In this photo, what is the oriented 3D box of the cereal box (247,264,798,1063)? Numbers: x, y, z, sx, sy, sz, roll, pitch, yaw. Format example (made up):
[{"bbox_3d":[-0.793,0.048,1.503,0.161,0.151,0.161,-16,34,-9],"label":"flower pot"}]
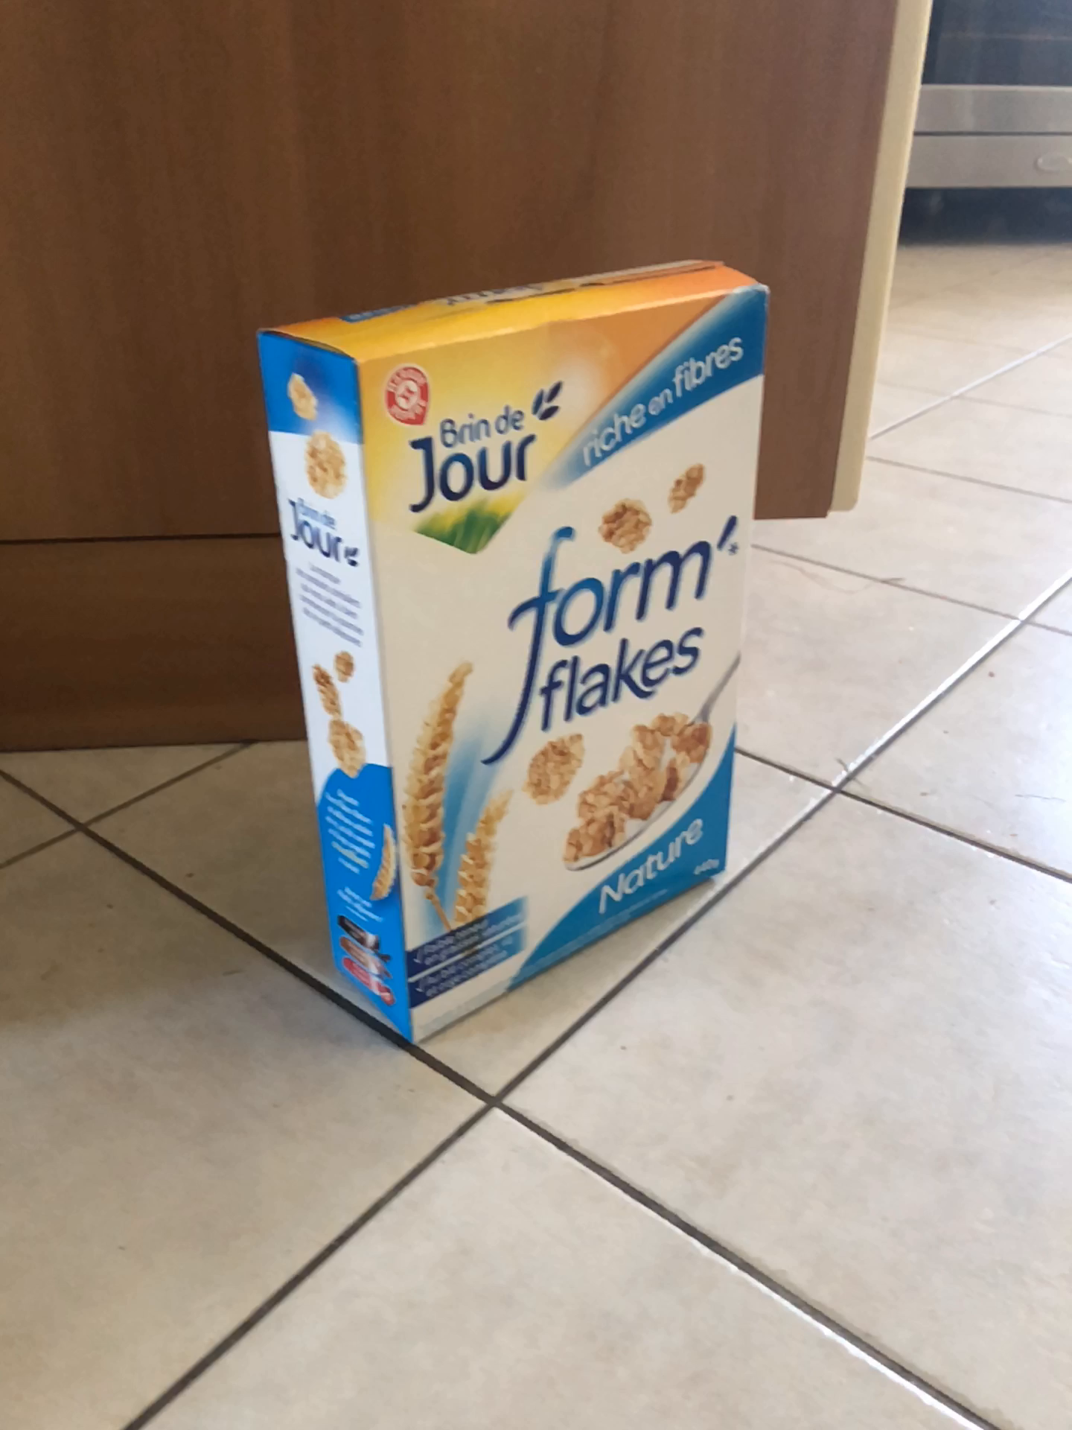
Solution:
[{"bbox_3d":[0.005,-0.027,0.492,0.201,0.278,0.070,-22,34,-34],"label":"cereal box"}]
